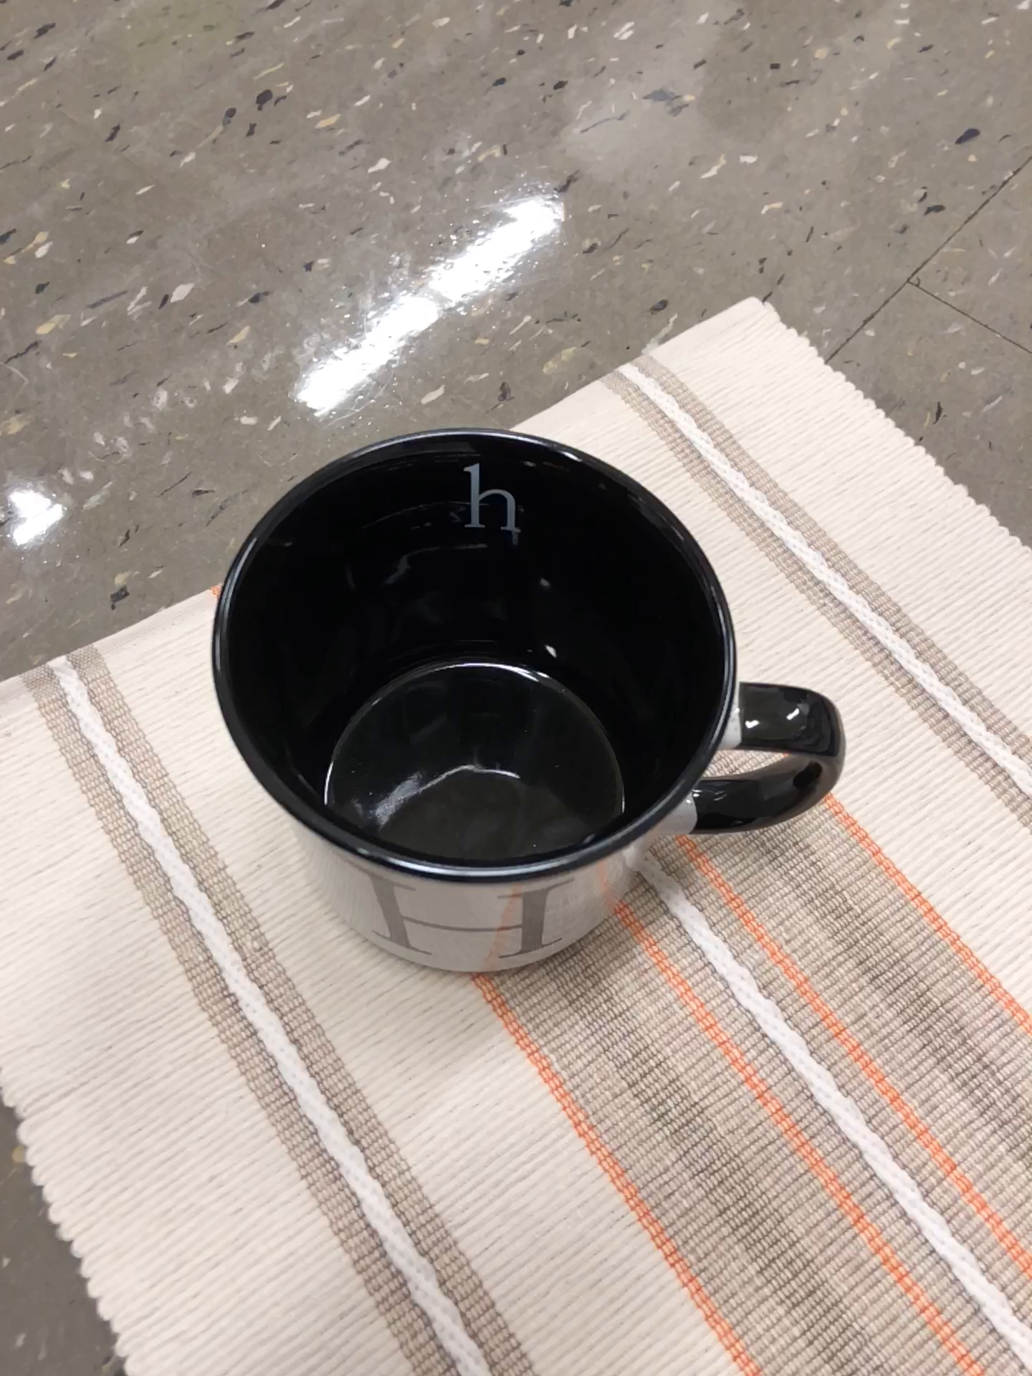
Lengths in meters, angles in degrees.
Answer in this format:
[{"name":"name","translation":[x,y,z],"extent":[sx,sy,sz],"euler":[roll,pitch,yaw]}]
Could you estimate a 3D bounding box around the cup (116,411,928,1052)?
[{"name":"cup","translation":[0.004,0.015,0.264],"extent":[0.140,0.100,0.100],"euler":[6,62,1]}]
